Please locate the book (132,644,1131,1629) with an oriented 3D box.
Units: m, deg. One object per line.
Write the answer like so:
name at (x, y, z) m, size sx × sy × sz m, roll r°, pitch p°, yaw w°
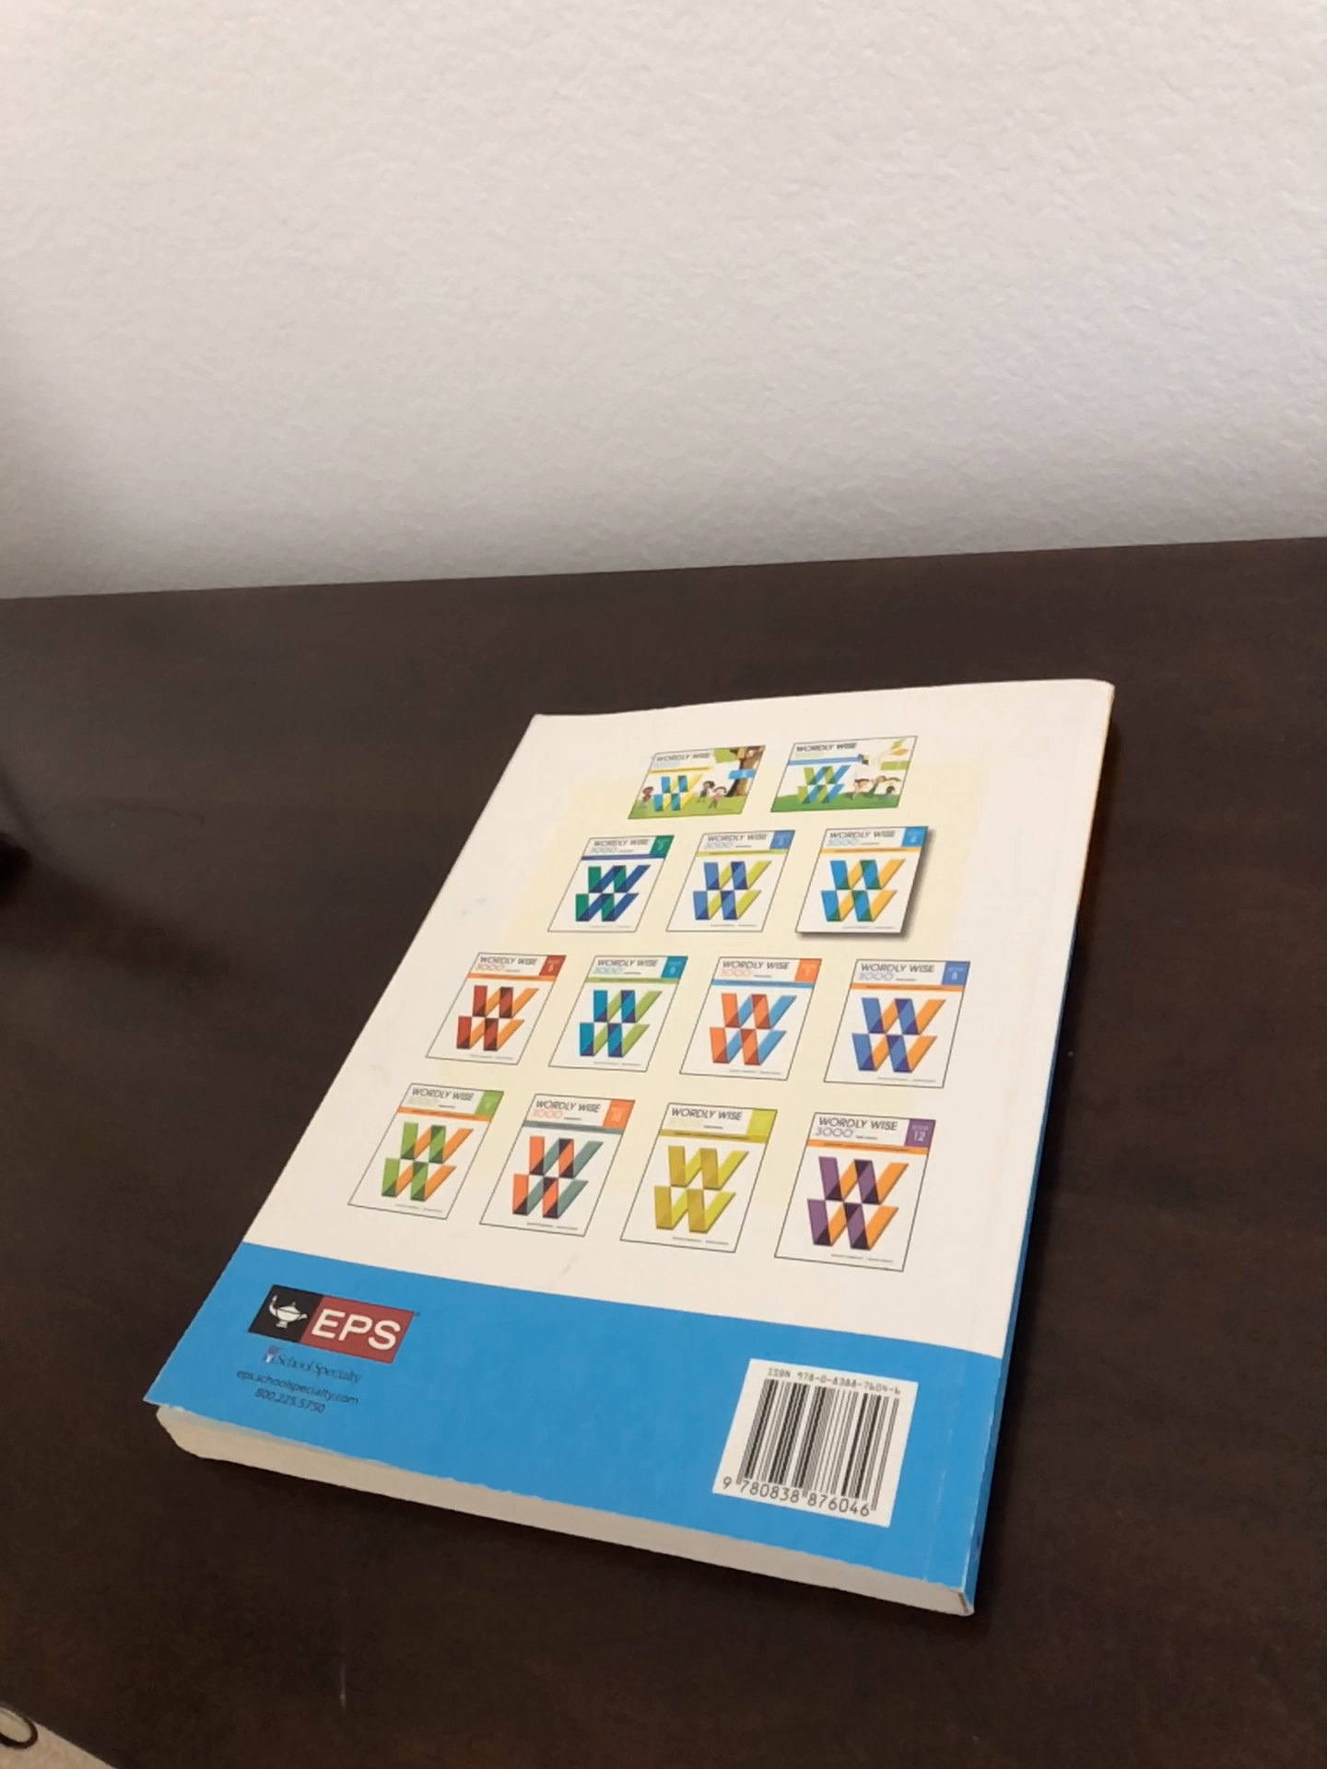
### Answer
book at (0.005, 0.042, 0.421) m, size 0.220 × 0.031 × 0.272 m, roll -1°, pitch 48°, yaw 27°
